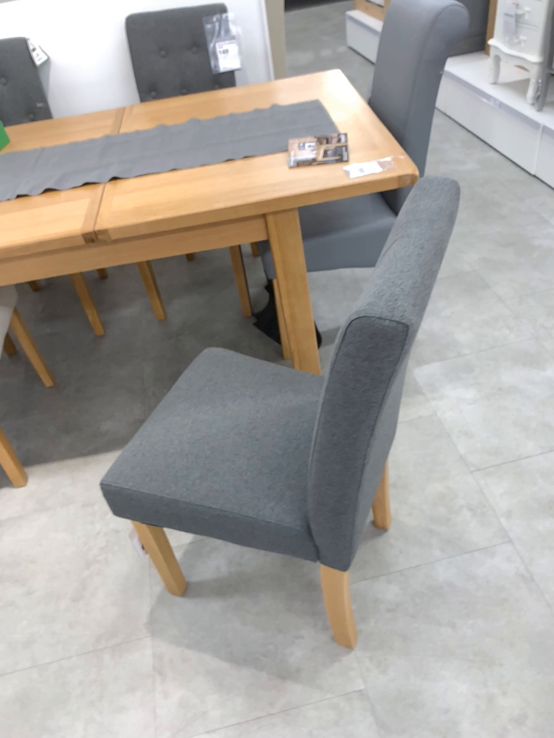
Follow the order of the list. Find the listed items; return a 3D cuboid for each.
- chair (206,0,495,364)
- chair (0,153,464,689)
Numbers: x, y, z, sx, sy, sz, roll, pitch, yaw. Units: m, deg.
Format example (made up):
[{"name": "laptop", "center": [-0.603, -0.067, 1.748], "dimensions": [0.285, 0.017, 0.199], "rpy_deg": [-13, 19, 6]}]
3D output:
[{"name": "chair", "center": [0.201, -0.578, 1.751], "dimensions": [0.622, 0.899, 0.509], "rpy_deg": [-12, 41, -2]}, {"name": "chair", "center": [-0.051, 0.101, 1.077], "dimensions": [0.644, 0.830, 0.447], "rpy_deg": [11, 45, 22]}]
